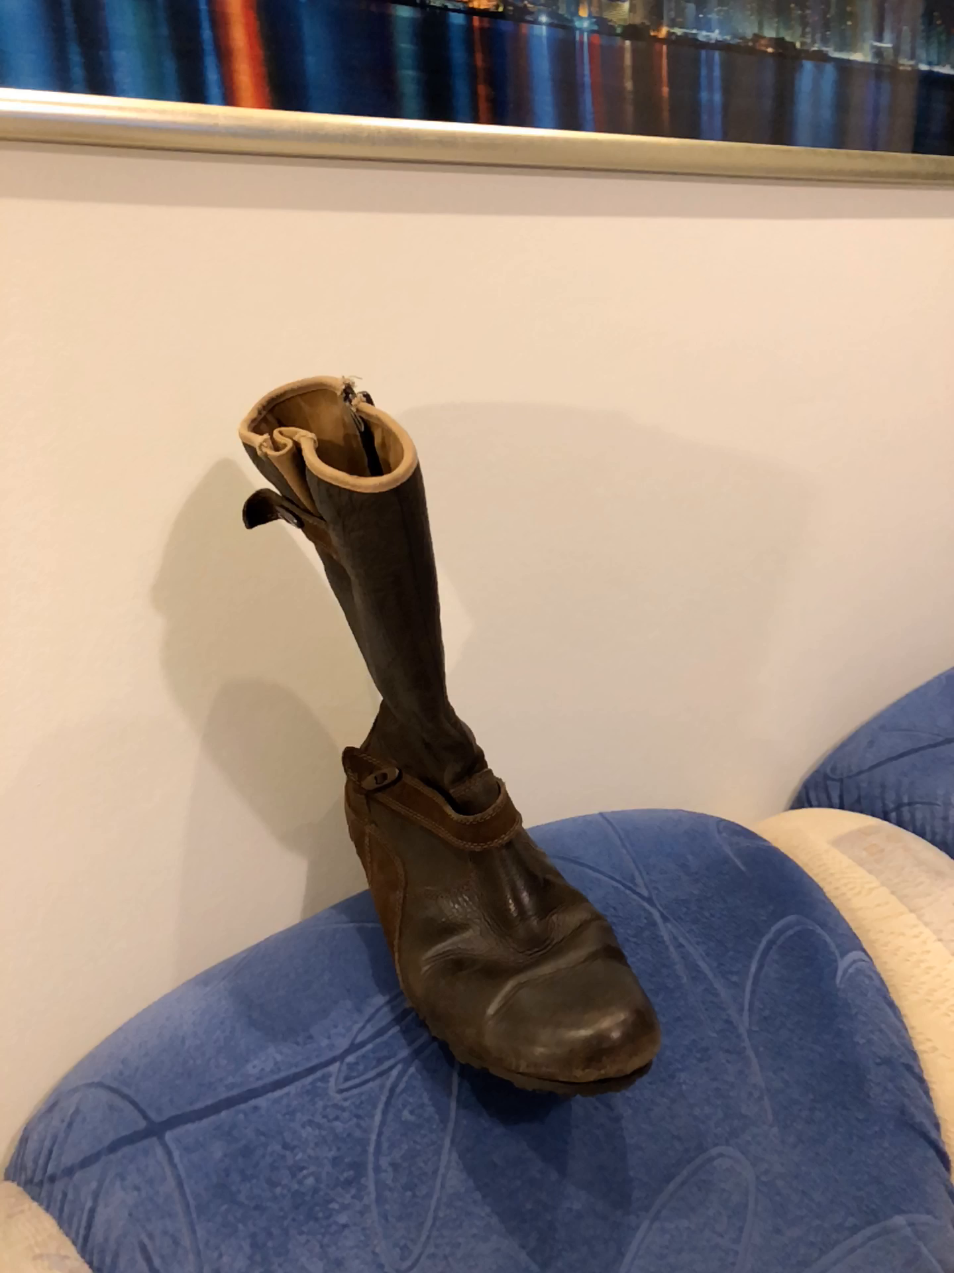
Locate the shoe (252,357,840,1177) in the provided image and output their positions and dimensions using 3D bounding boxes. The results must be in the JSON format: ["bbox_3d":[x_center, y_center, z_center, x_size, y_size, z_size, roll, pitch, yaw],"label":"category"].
[{"bbox_3d":[-0.002,0.041,0.512,0.110,0.278,0.271,-14,34,-32],"label":"shoe"}]
